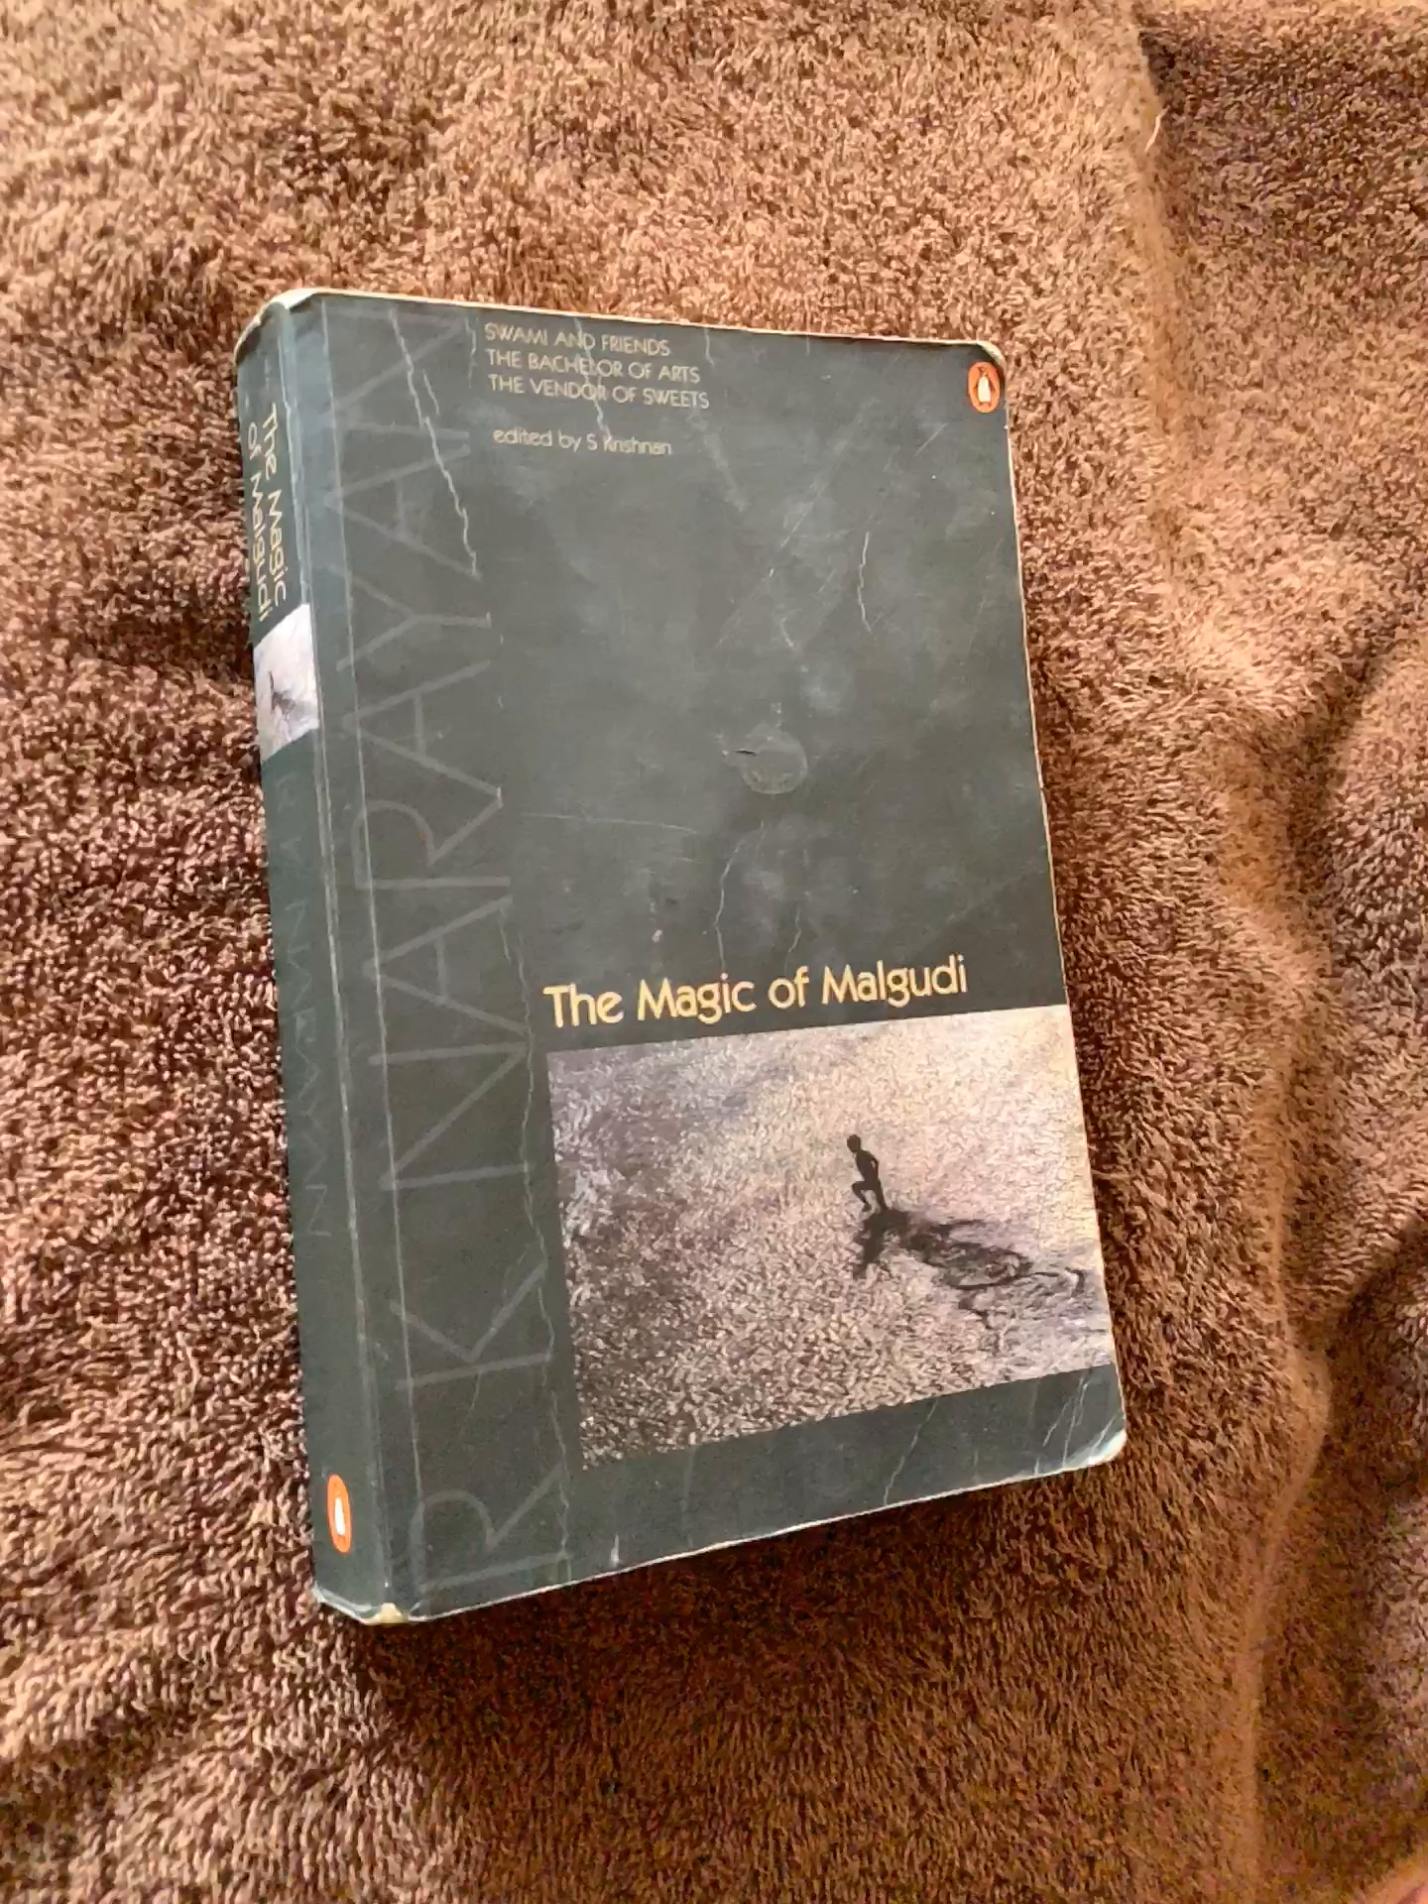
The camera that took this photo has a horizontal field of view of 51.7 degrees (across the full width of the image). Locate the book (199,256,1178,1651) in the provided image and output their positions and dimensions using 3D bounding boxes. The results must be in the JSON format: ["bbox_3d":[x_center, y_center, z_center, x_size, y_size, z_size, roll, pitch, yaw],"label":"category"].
[{"bbox_3d":[-0.003,-0.006,0.244,0.142,0.030,0.193,-4,84,-23],"label":"book"}]
